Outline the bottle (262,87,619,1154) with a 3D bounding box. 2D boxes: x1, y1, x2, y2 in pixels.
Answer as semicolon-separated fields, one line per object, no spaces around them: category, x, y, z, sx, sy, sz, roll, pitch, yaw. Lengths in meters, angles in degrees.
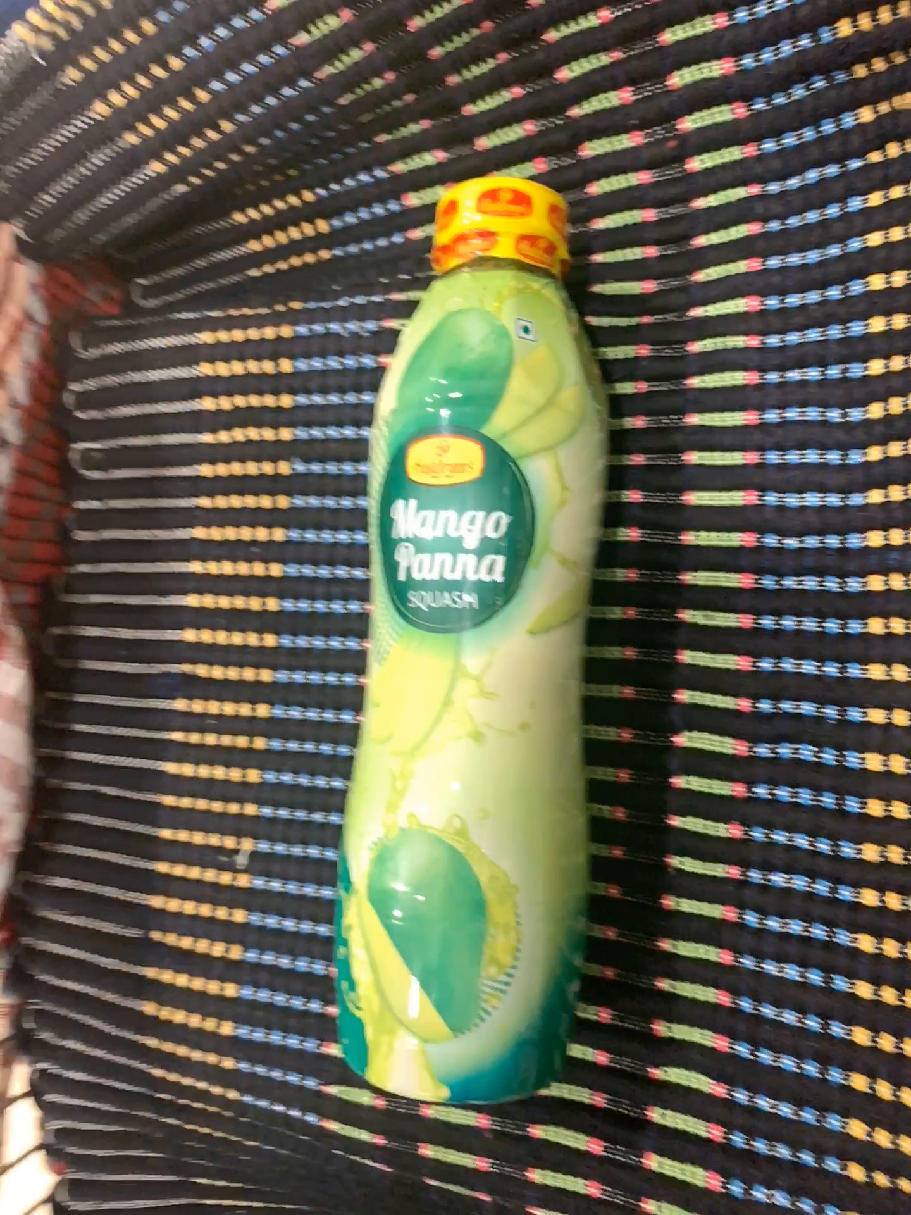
bottle;0.001;-0.003;0.272;0.070;0.050;0.270;2;84;18
